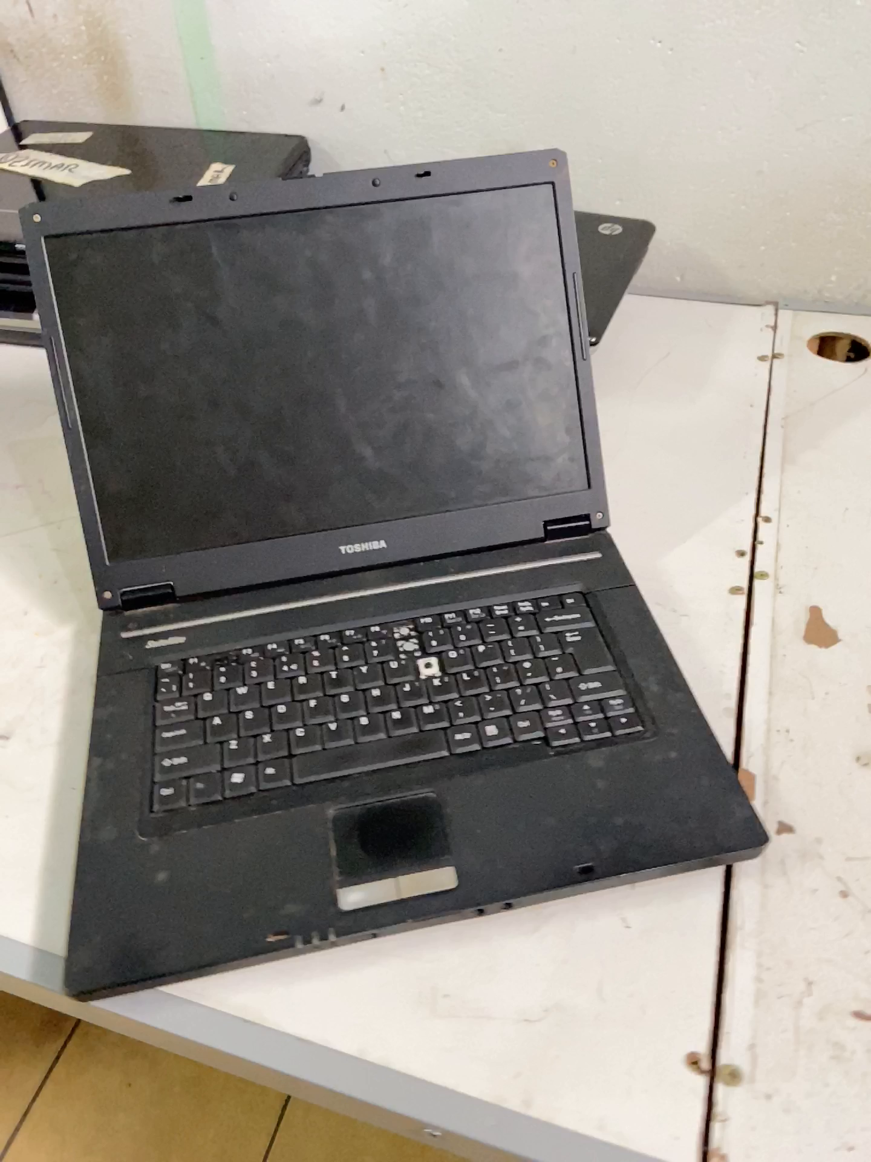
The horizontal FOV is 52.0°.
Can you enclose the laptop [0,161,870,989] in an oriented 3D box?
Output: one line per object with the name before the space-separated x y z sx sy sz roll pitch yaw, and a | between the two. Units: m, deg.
laptop | -0.041 -0.045 0.519 0.356 0.212 0.404 -10 44 -6
